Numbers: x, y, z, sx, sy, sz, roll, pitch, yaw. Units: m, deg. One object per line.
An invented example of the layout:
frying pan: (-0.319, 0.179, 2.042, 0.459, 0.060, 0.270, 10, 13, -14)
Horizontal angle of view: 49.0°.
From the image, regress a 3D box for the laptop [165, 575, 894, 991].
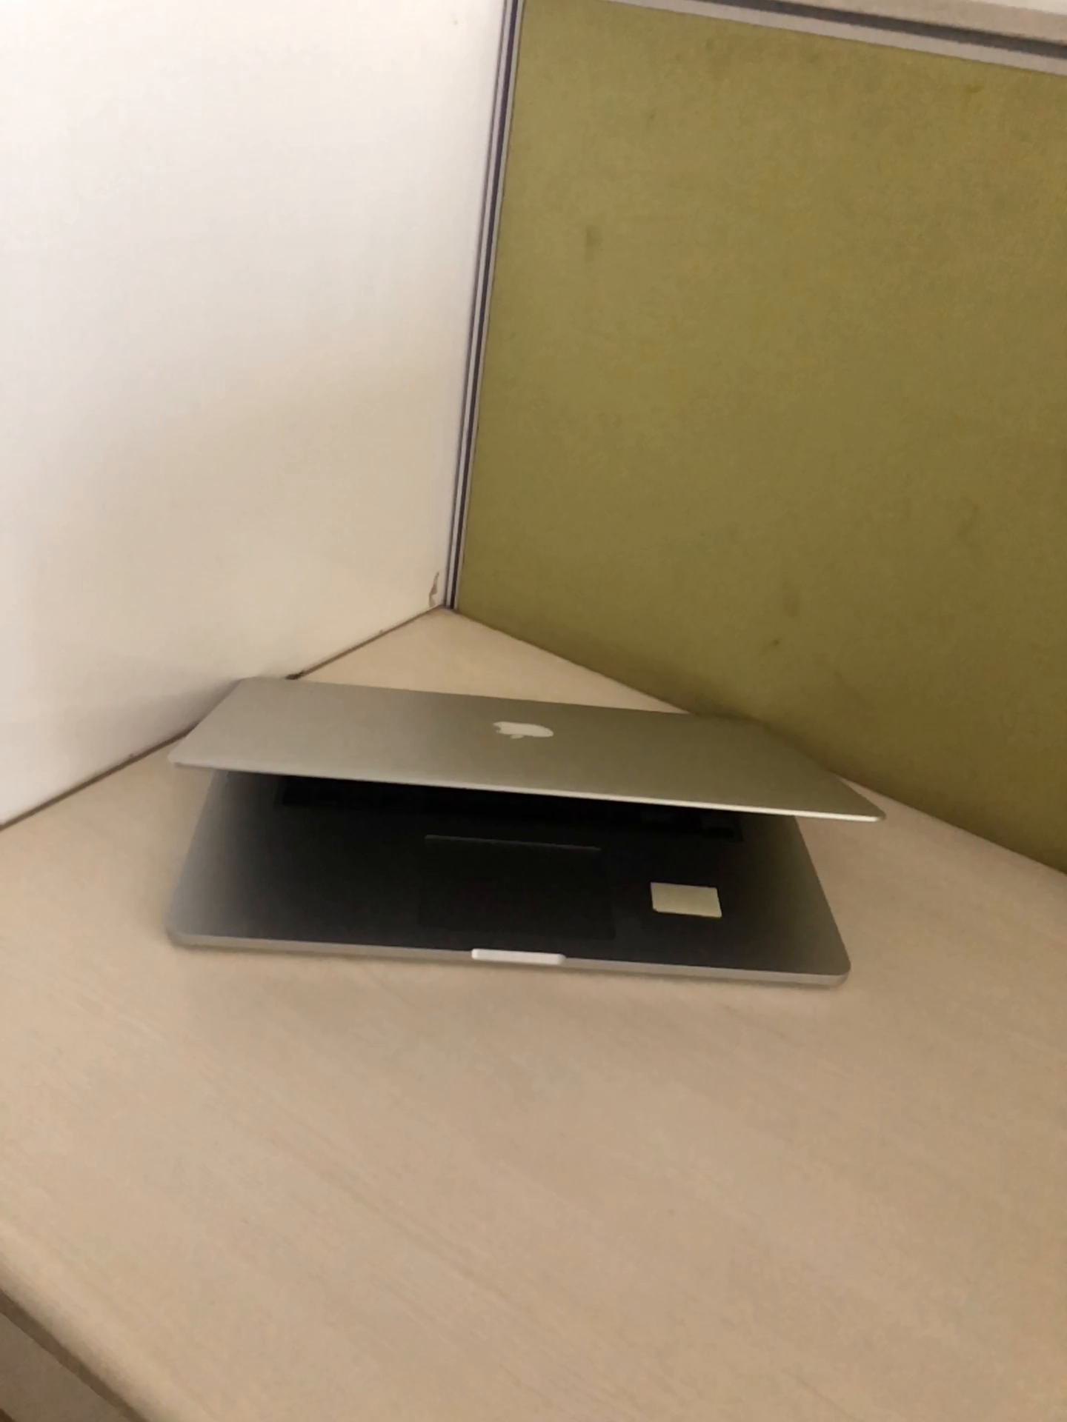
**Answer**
laptop: (-0.007, 0.030, 0.670, 0.343, 0.083, 0.245, 5, 31, -6)
